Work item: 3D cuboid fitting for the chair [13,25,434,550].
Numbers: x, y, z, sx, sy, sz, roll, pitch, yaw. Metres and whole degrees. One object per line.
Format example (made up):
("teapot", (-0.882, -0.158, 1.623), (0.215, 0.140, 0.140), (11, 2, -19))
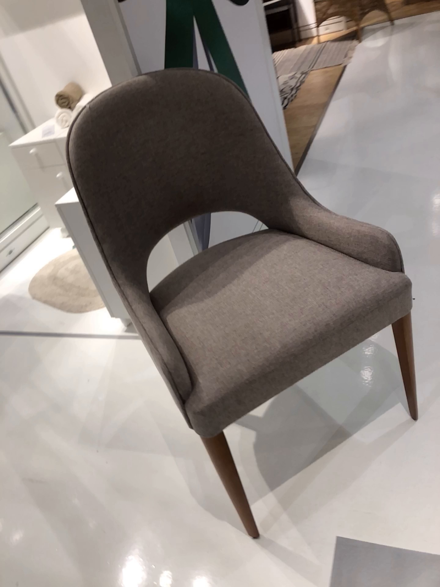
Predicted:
("chair", (0.044, -0.044, 1.139), (0.571, 0.893, 0.614), (-28, 35, -15))
